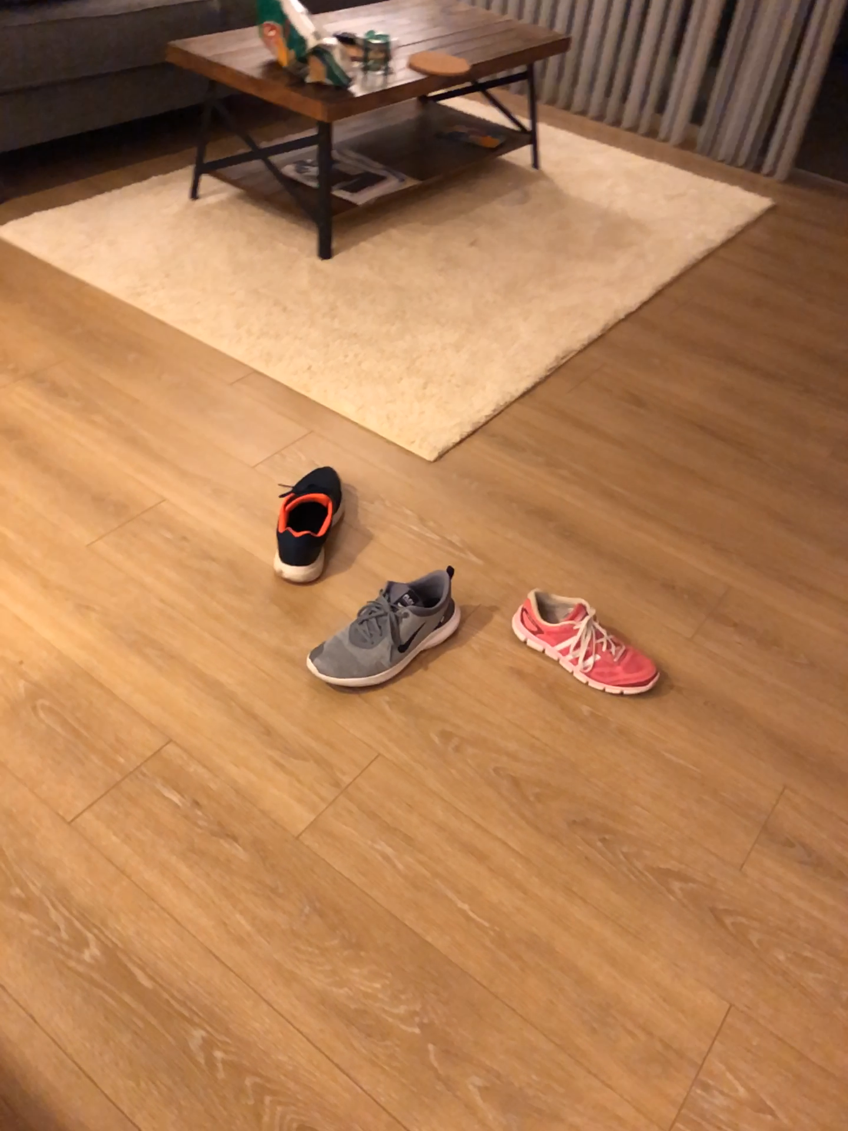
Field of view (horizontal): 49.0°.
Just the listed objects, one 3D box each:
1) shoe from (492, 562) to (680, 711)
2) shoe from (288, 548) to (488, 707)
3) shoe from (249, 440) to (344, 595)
[{"bbox_3d":[0.278,0.119,1.611,0.280,0.089,0.131,25,45,17],"label":"shoe"},{"bbox_3d":[-0.058,0.096,1.564,0.321,0.080,0.130,-27,53,-32],"label":"shoe"},{"bbox_3d":[-0.236,-0.098,1.765,0.130,0.099,0.322,6,42,-2],"label":"shoe"}]
